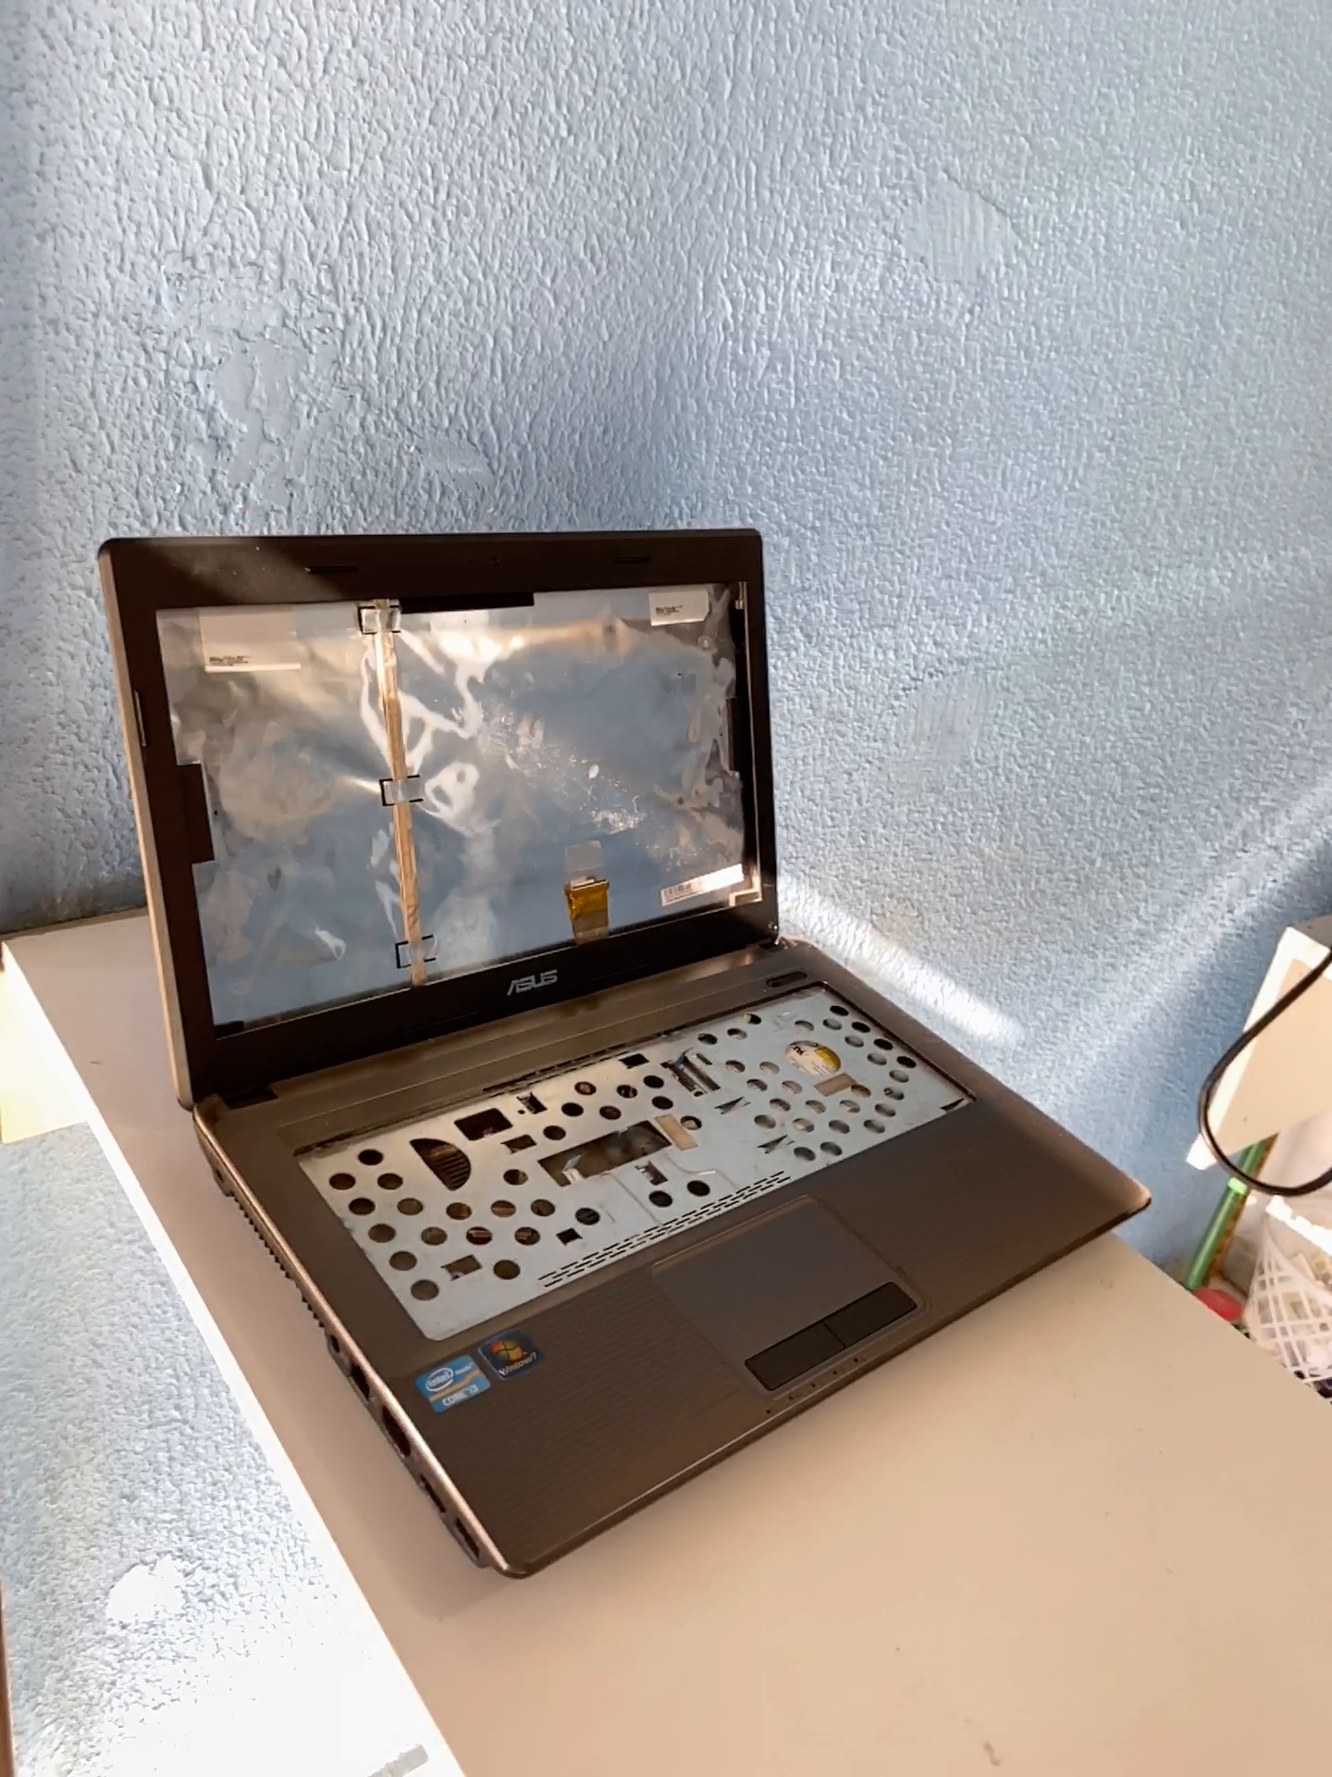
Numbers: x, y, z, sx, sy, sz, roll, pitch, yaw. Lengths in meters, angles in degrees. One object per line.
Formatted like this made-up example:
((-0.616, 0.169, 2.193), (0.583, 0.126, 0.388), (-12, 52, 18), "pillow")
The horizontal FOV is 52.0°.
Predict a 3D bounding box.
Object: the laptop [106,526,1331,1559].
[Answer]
((0.003, 0.001, 0.560), (0.337, 0.202, 0.327), (-12, 35, -38), "laptop")
